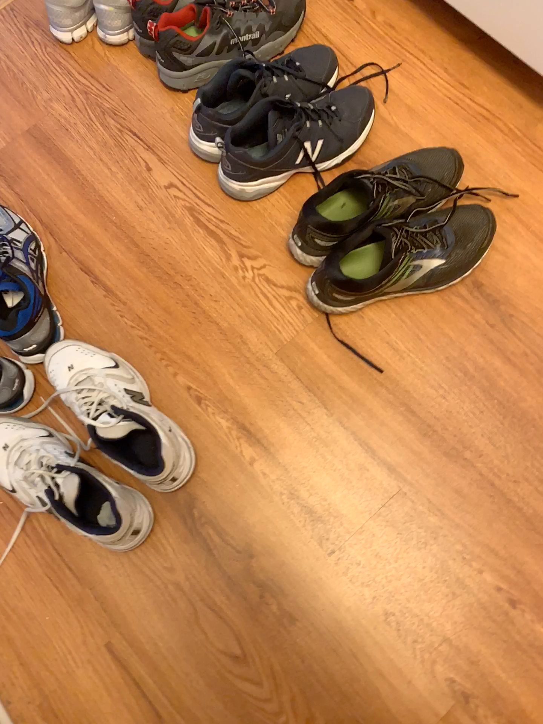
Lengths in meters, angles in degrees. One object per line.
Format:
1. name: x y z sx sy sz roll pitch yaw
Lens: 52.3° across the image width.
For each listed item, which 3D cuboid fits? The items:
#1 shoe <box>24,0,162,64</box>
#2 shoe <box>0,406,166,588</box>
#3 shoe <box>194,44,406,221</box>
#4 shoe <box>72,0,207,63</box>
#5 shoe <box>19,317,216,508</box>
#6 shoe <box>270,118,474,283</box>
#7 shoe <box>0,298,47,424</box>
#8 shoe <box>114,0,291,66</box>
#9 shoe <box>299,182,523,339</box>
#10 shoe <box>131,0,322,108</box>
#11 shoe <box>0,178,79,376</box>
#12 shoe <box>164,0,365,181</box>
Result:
1. shoe: -0.343 -0.724 1.083 0.080 0.080 0.270 38 80 12
2. shoe: -0.310 0.194 0.812 0.270 0.130 0.110 32 79 11
3. shoe: 0.047 -0.374 0.910 0.310 0.100 0.120 -29 75 -4
4. shoe: -0.249 -0.718 1.070 0.080 0.080 0.270 38 80 12
5. shoe: -0.220 0.078 0.815 0.110 0.130 0.260 -44 77 -8
6. shoe: 0.156 -0.257 0.897 0.290 0.110 0.110 -26 75 -4
7. shoe: -0.516 -0.001 0.856 0.290 0.080 0.110 14 76 7
8. shoe: -0.121 -0.681 1.019 0.300 0.090 0.100 -28 75 -4
9. shoe: 0.208 -0.156 0.876 0.310 0.110 0.110 -21 75 -2
10. shoe: -0.075 -0.599 0.995 0.310 0.090 0.120 -28 75 -4
11. shoe: -0.422 -0.137 0.888 0.110 0.080 0.290 -24 75 -3
12. shoe: -0.008 -0.460 0.939 0.310 0.100 0.120 -34 76 -6
